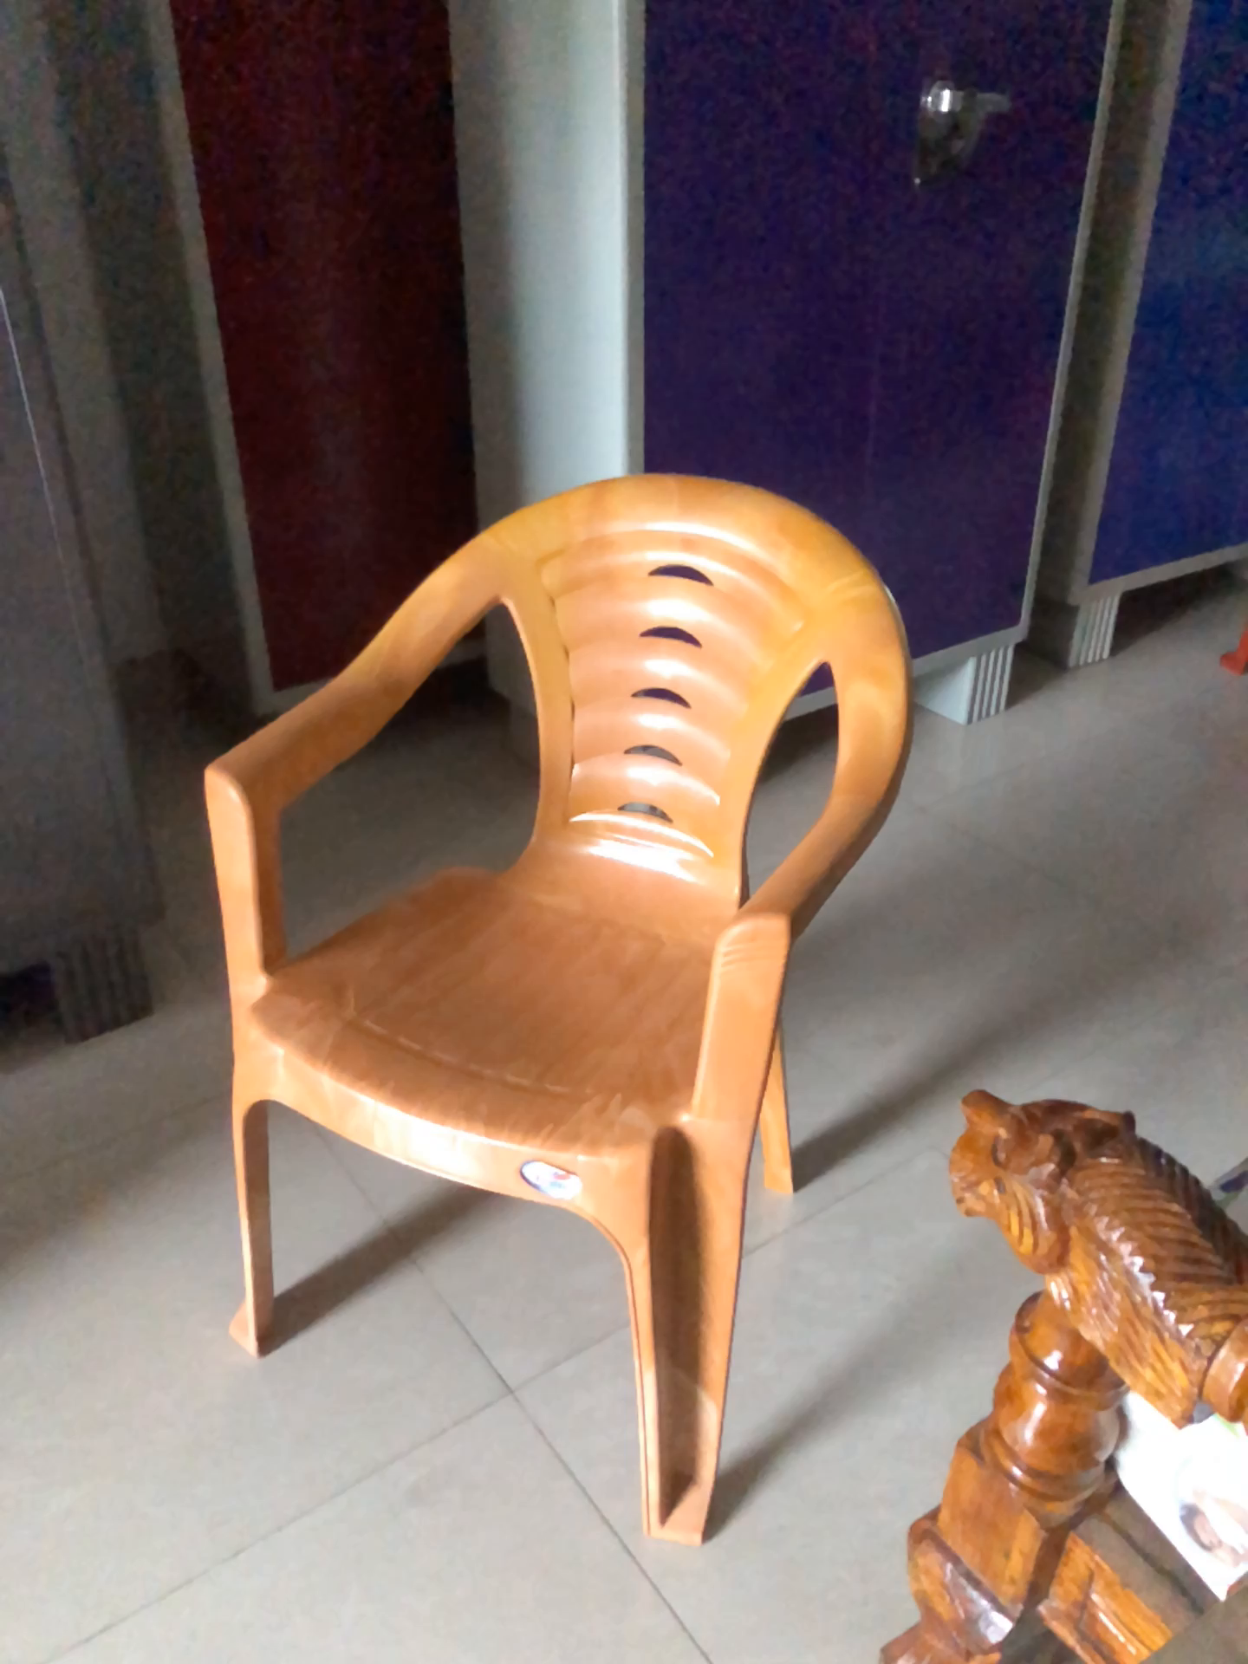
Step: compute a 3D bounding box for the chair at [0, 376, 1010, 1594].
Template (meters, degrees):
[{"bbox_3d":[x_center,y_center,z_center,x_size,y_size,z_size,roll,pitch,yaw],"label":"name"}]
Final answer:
[{"bbox_3d":[-0.061,0.082,1.316,0.630,0.846,0.603,12,32,22],"label":"chair"}]
